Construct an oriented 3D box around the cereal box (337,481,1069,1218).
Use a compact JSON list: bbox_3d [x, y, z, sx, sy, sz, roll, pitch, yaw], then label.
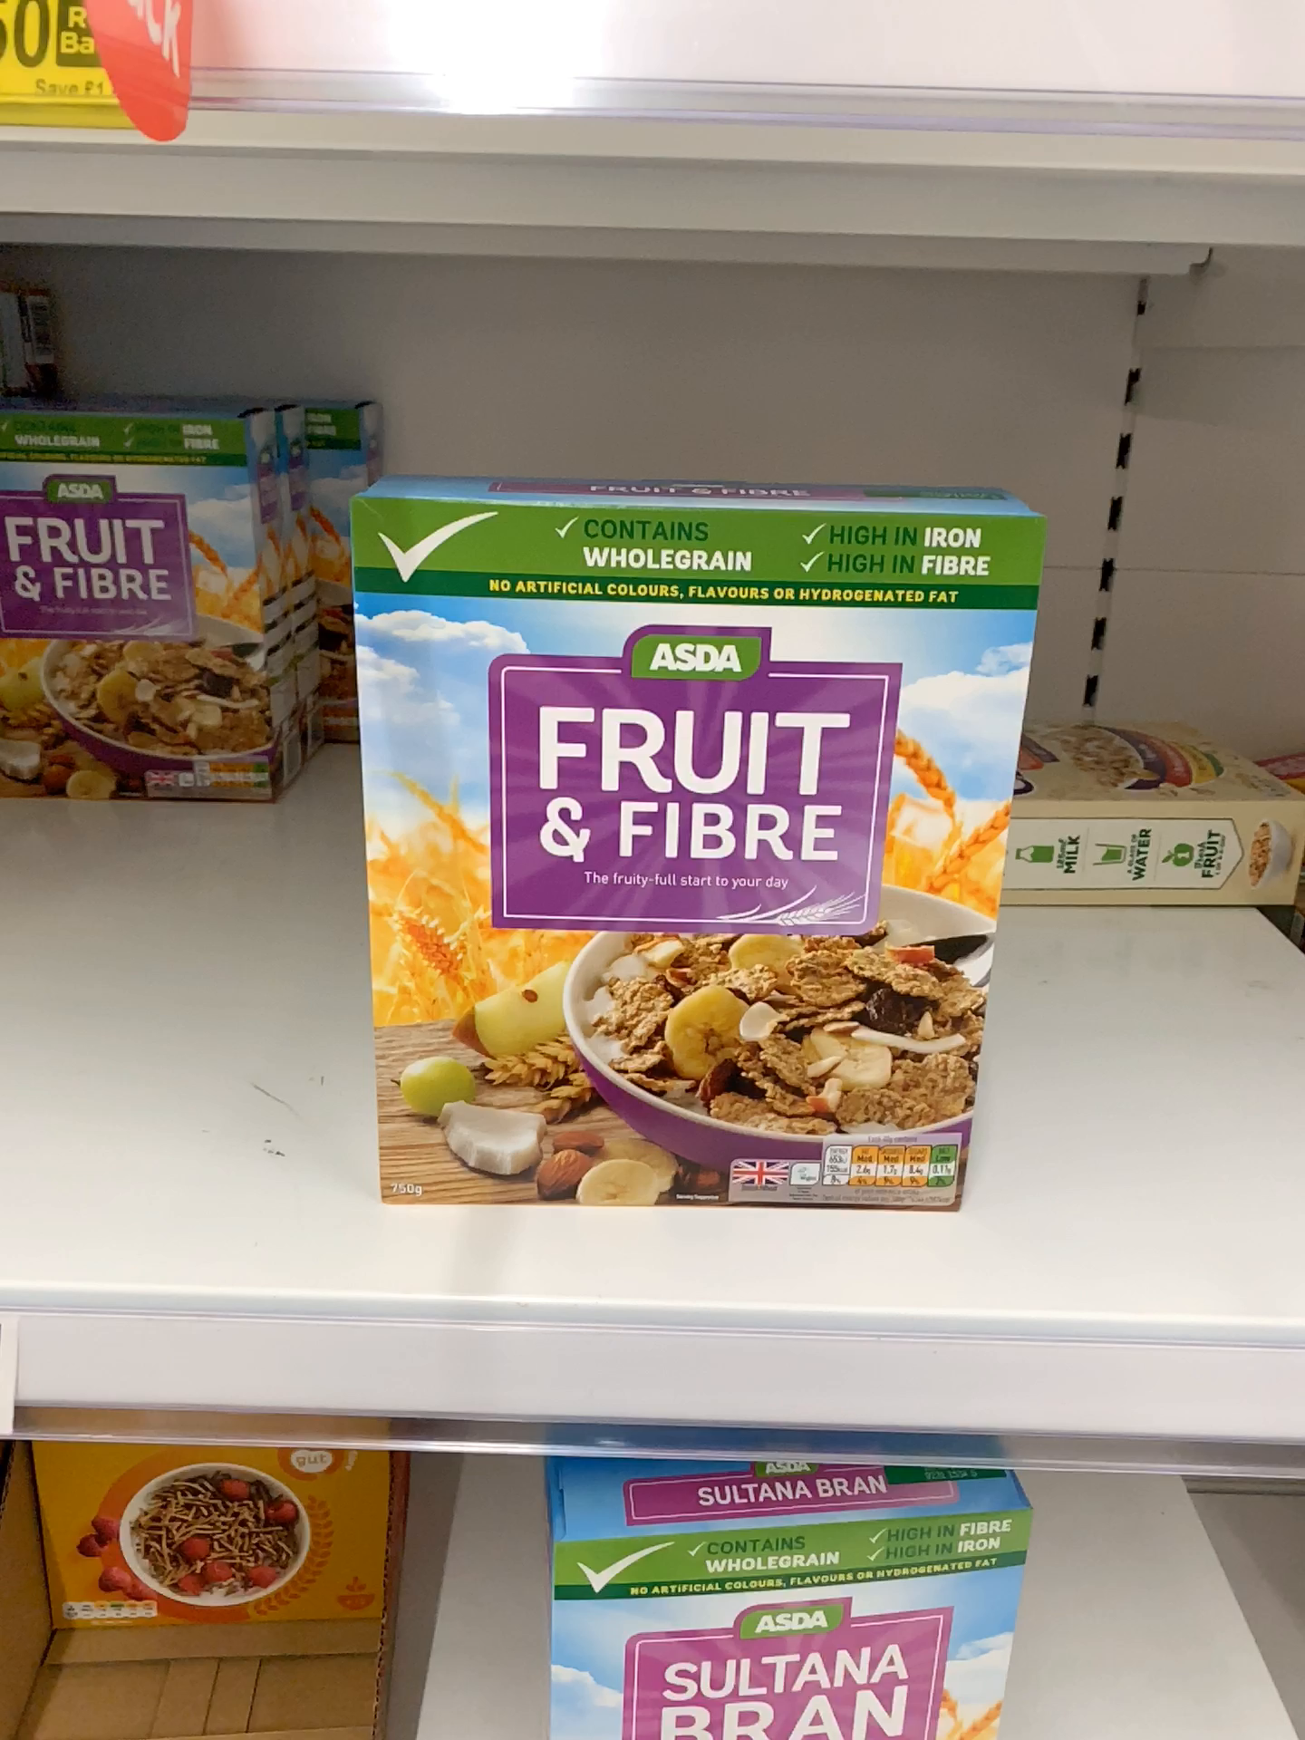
[{"bbox_3d":[0.013,-0.005,0.503,0.230,0.258,0.081,1,20,-1],"label":"cereal box"}]
